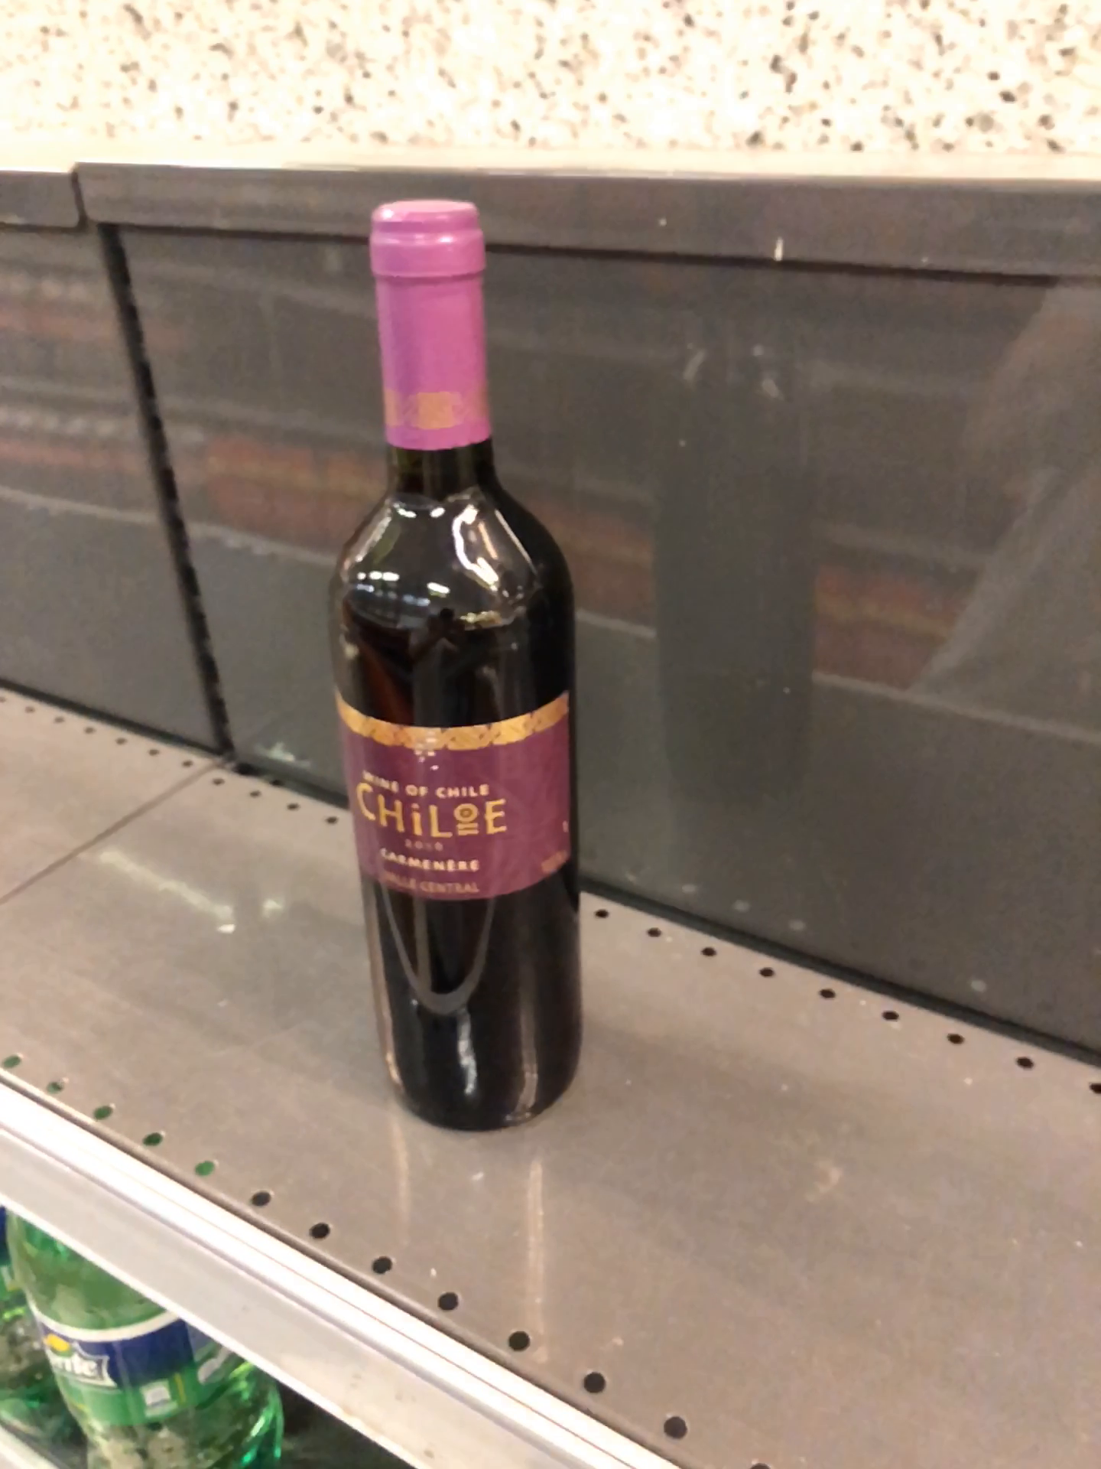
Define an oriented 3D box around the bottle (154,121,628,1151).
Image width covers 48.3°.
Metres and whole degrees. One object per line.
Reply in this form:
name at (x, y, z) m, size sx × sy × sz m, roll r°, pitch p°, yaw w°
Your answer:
bottle at (-0.032, -0.015, 0.395) m, size 0.090 × 0.317 × 0.081 m, roll 6°, pitch 32°, yaw 16°
